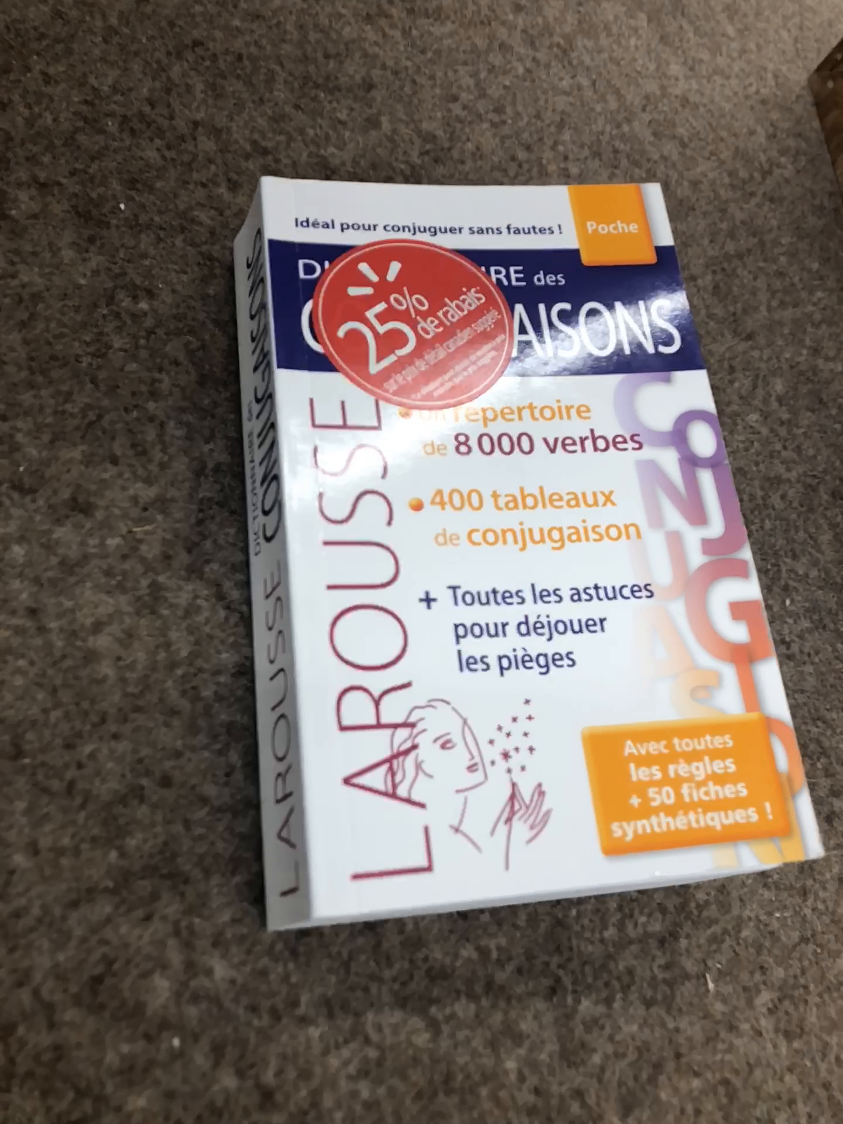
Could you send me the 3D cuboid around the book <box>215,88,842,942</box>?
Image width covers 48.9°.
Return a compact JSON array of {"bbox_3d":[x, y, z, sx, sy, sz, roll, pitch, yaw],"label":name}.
[{"bbox_3d":[0.015,-0.015,0.244,0.125,0.059,0.199,2,66,-21],"label":"book"}]
